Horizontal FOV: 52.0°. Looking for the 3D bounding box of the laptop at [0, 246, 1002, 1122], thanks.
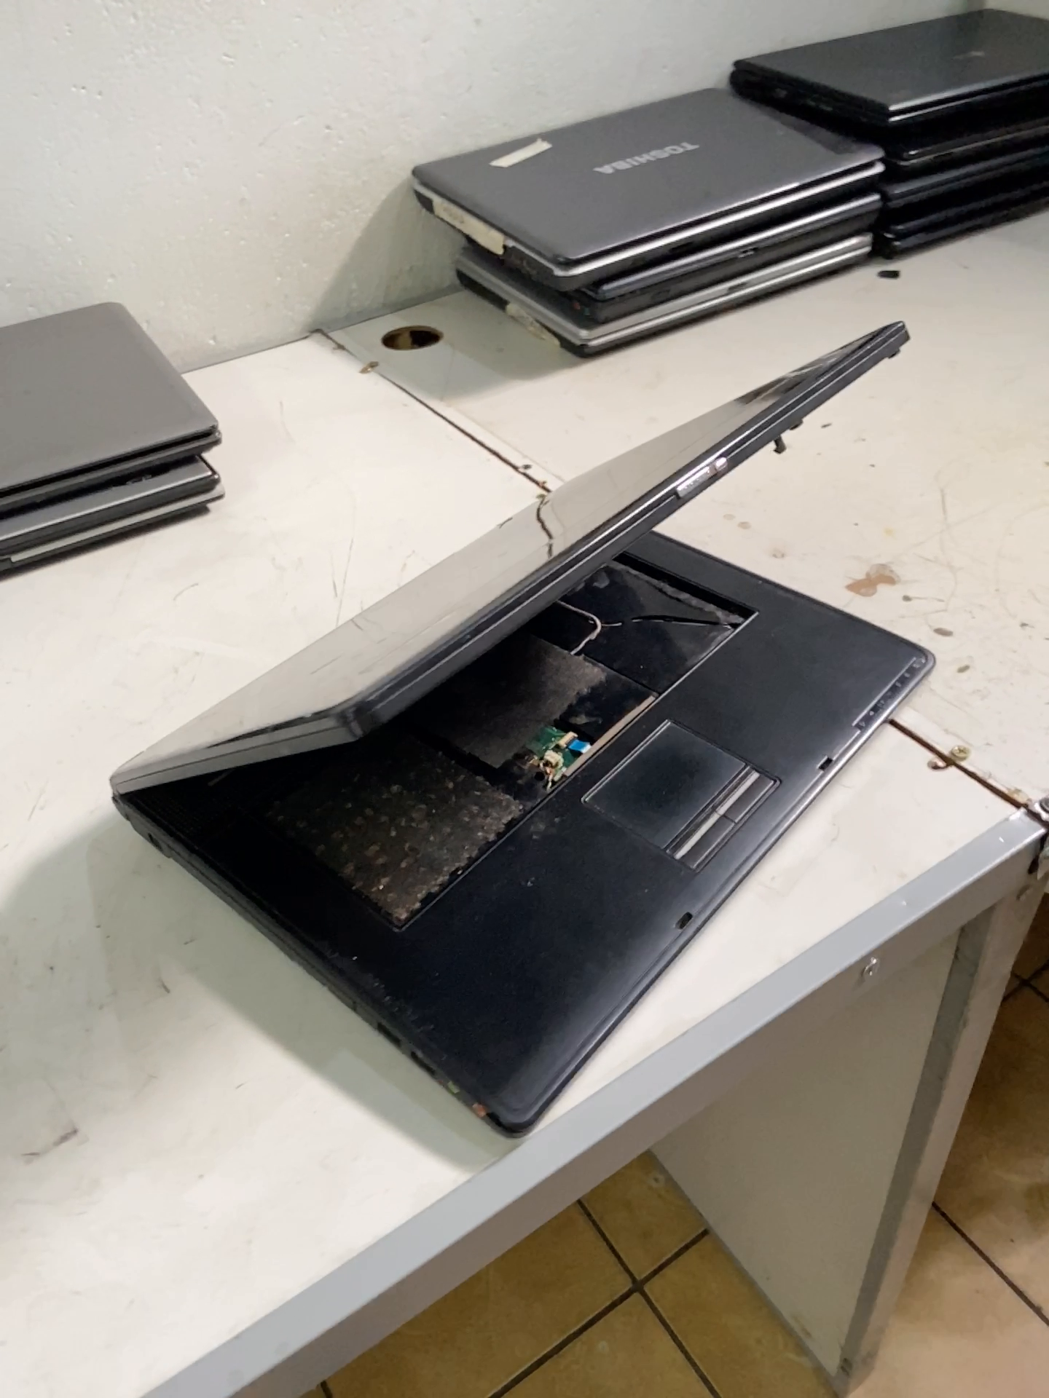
[{"bbox_3d":[0.008,-0.051,0.508,0.260,0.164,0.349,29,50,31],"label":"laptop"}]
